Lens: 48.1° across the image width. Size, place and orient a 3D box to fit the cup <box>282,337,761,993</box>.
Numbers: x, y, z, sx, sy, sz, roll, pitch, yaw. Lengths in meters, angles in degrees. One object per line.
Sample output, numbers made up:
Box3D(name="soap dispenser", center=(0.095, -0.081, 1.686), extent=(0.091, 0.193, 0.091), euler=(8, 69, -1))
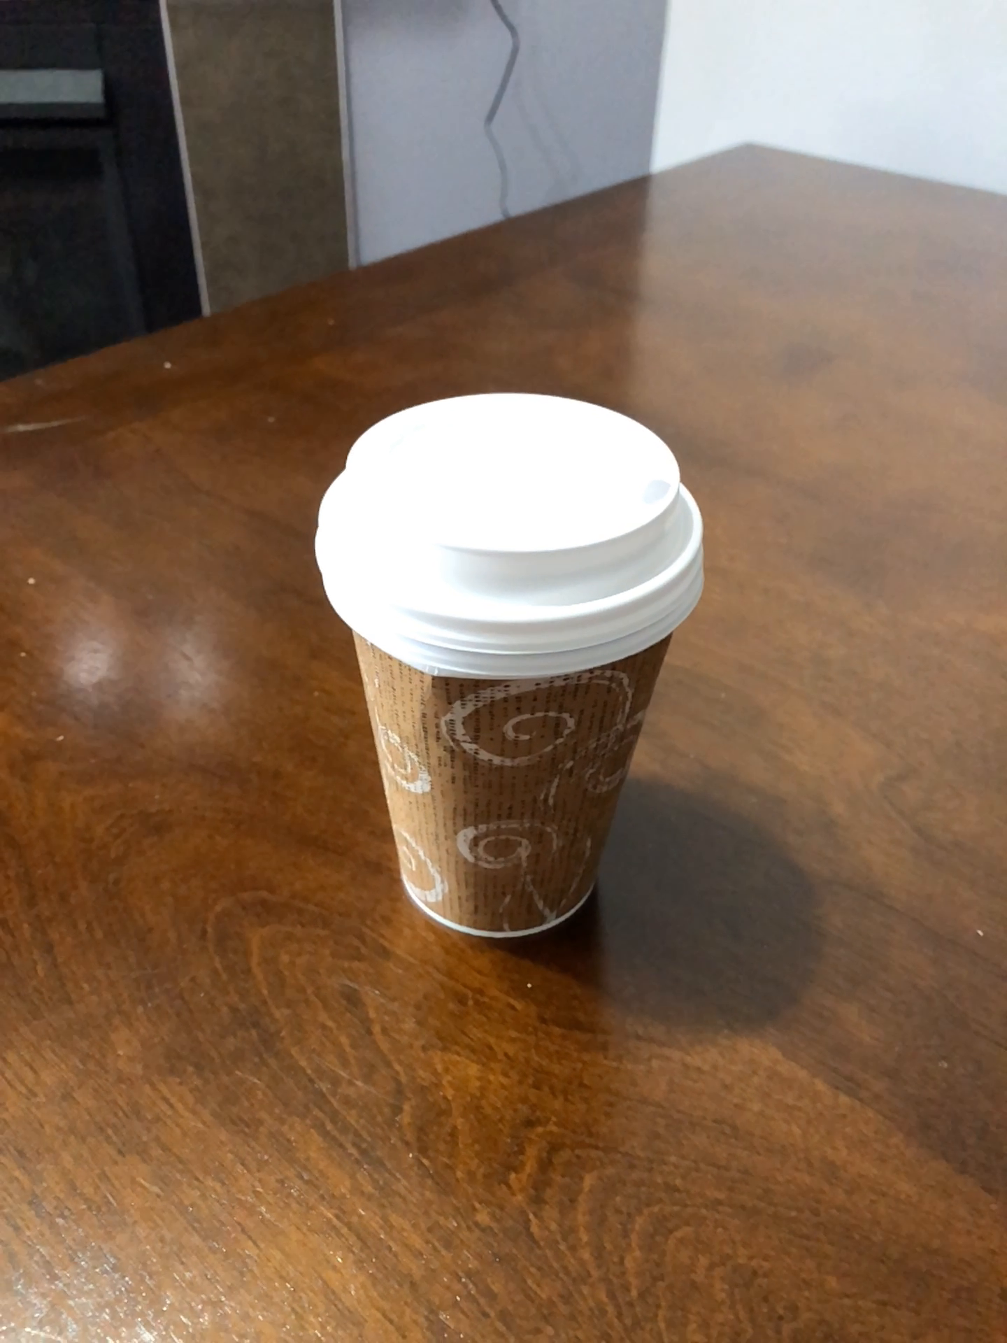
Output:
Box3D(name="cup", center=(0.003, -0.002, 0.227), extent=(0.070, 0.100, 0.080), euler=(3, 37, 1))
